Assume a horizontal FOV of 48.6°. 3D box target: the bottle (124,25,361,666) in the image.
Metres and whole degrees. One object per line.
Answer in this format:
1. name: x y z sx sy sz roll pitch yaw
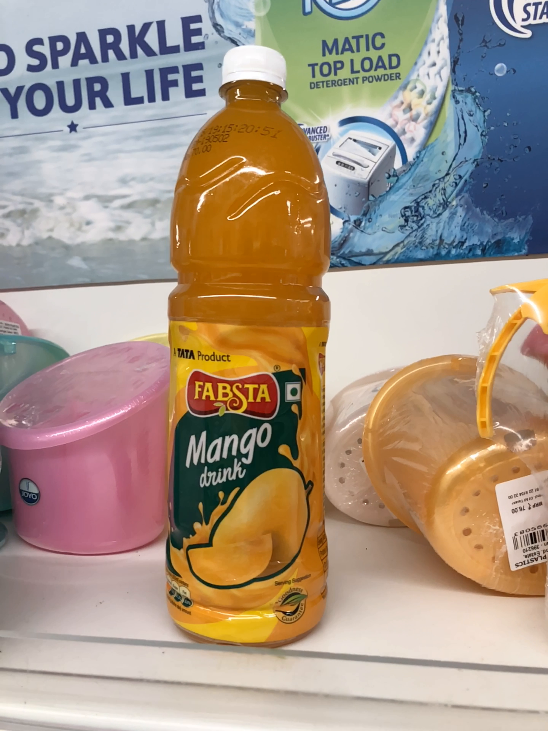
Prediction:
1. bottle: -0.010 -0.009 0.291 0.090 0.260 0.080 3 4 8
